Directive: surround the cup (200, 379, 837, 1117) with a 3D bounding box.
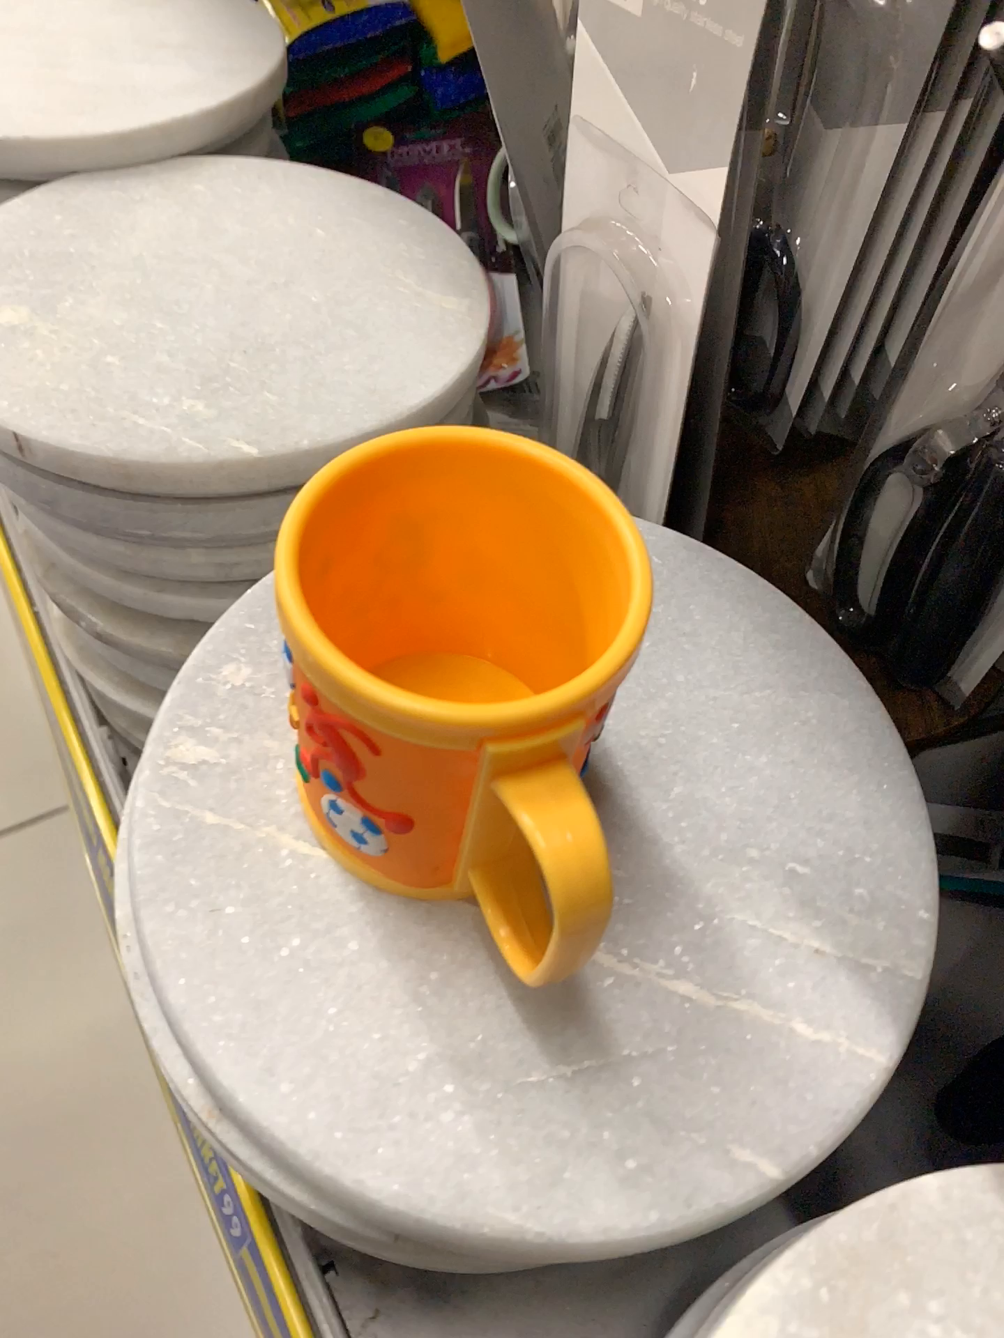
[{"bbox_3d":[-0.006,0.017,0.231,0.080,0.100,0.110,-17,56,-18],"label":"cup"}]
